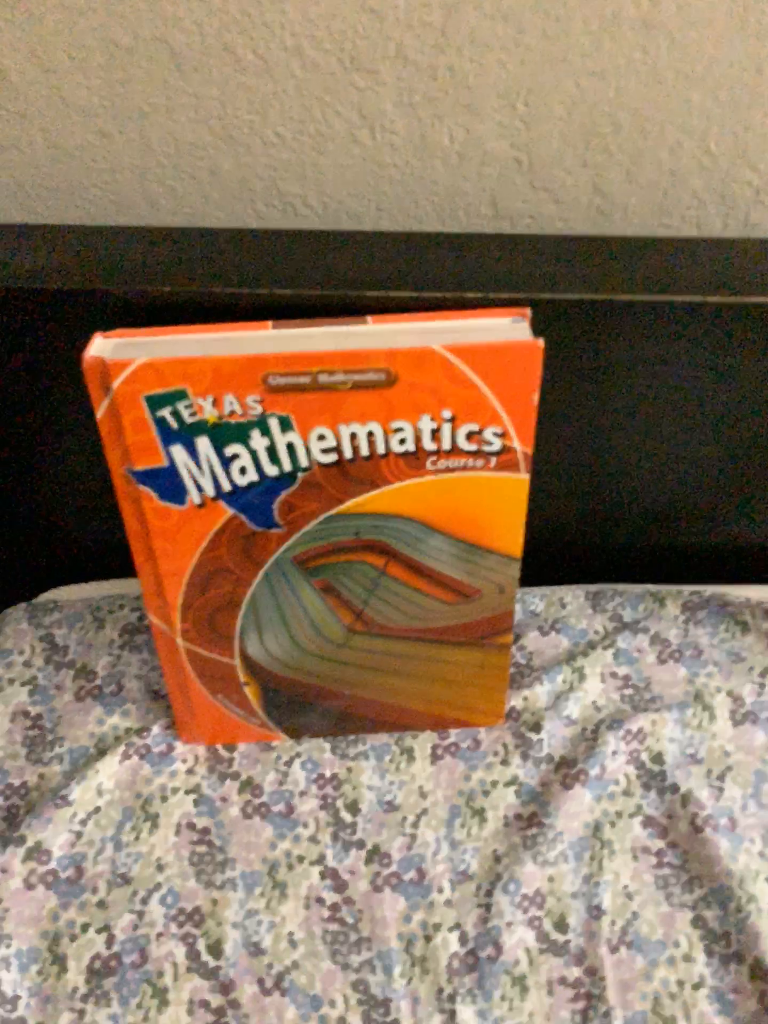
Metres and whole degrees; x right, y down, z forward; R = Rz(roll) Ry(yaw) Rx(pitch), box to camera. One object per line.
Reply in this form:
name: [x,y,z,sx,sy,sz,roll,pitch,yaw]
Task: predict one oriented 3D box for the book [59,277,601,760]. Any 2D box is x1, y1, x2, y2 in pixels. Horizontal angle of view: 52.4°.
book: [-0.023,0.024,0.445,0.230,0.299,0.050,-4,40,-5]
